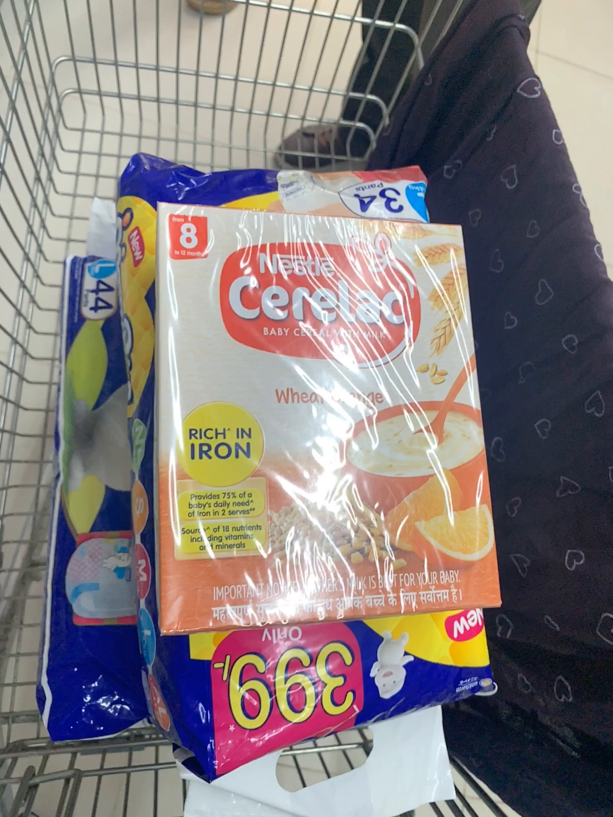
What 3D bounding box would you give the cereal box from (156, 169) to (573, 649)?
[{"bbox_3d":[0.019,-0.002,0.289,0.170,0.050,0.190,0,79,-13],"label":"cereal box"}]
